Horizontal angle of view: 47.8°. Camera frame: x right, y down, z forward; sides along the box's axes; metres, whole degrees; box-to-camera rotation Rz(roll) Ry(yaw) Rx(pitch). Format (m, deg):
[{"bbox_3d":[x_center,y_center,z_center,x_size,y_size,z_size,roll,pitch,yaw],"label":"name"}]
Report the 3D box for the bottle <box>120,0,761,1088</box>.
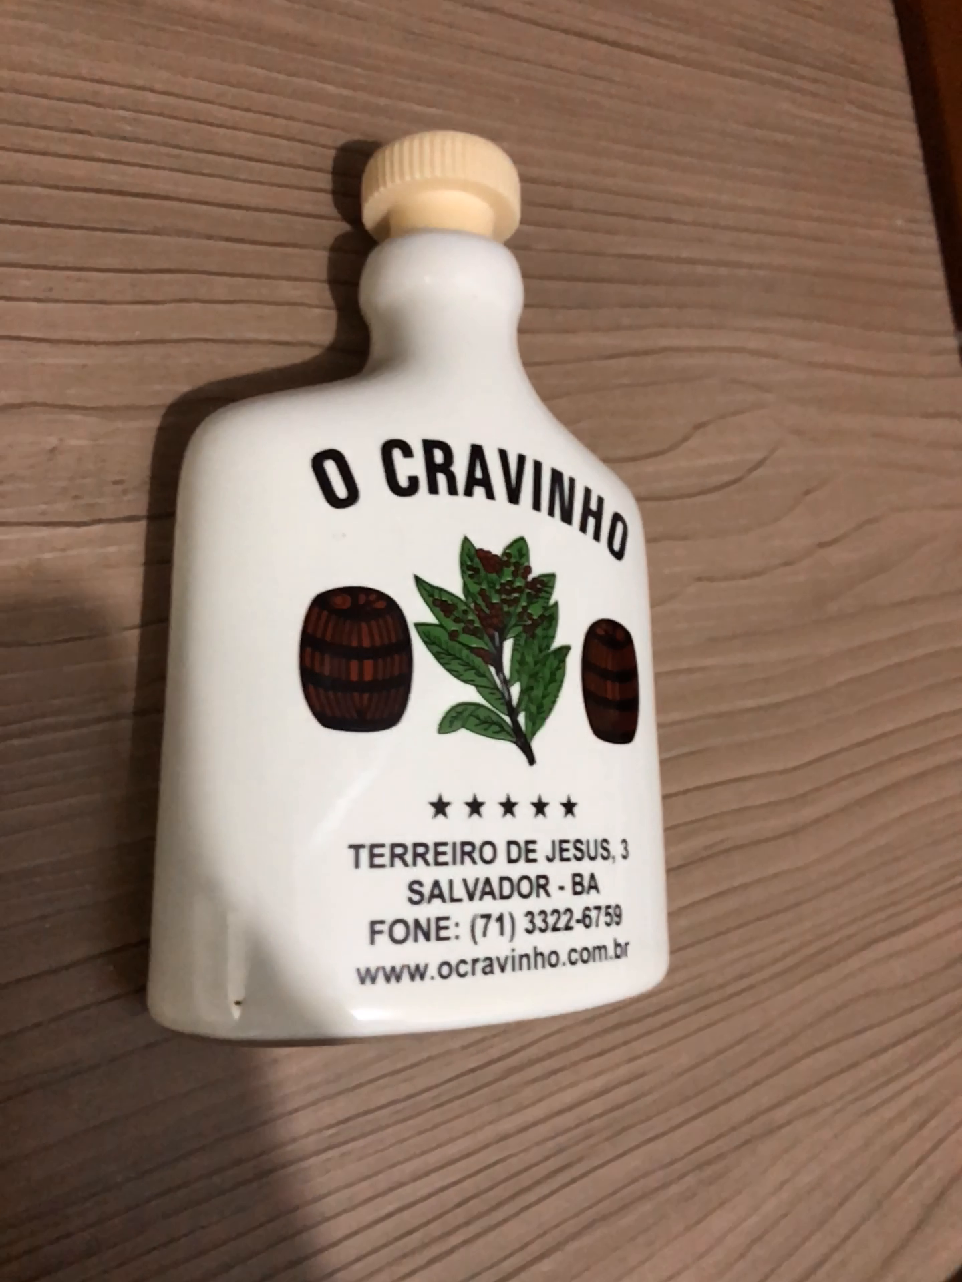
[{"bbox_3d":[-0.002,-0.018,0.189,0.100,0.040,0.160,6,81,-34],"label":"bottle"}]
